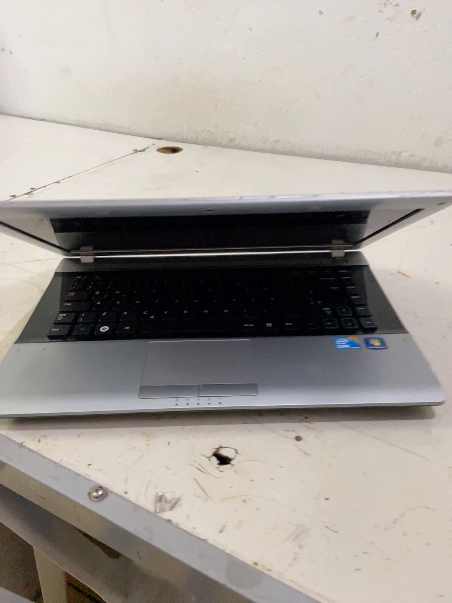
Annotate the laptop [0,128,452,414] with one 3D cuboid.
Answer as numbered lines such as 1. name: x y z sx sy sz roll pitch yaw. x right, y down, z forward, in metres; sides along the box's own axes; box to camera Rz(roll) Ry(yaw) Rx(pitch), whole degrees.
1. laptop: -0.013 -0.047 0.392 0.336 0.133 0.233 -1 33 -2
